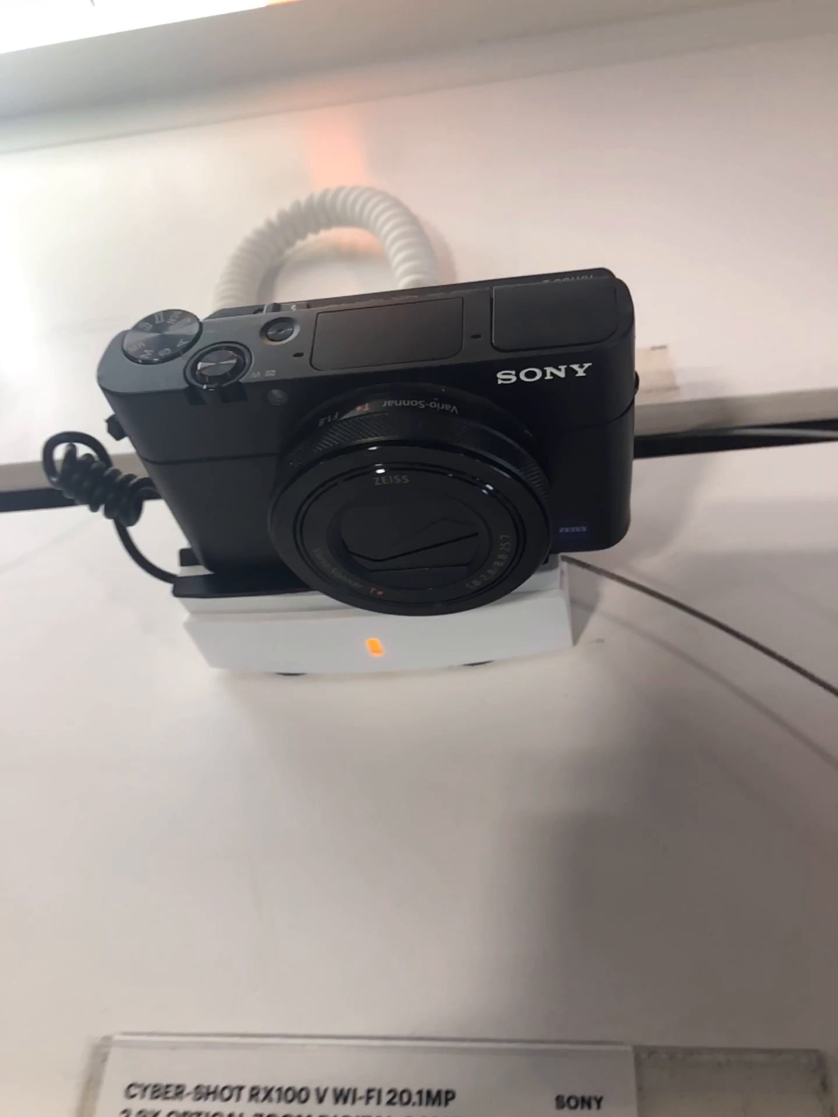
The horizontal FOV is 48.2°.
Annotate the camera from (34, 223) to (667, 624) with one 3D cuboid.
[{"bbox_3d":[-0.007,-0.021,0.179,0.101,0.063,0.032,-3,51,10],"label":"camera"}]
